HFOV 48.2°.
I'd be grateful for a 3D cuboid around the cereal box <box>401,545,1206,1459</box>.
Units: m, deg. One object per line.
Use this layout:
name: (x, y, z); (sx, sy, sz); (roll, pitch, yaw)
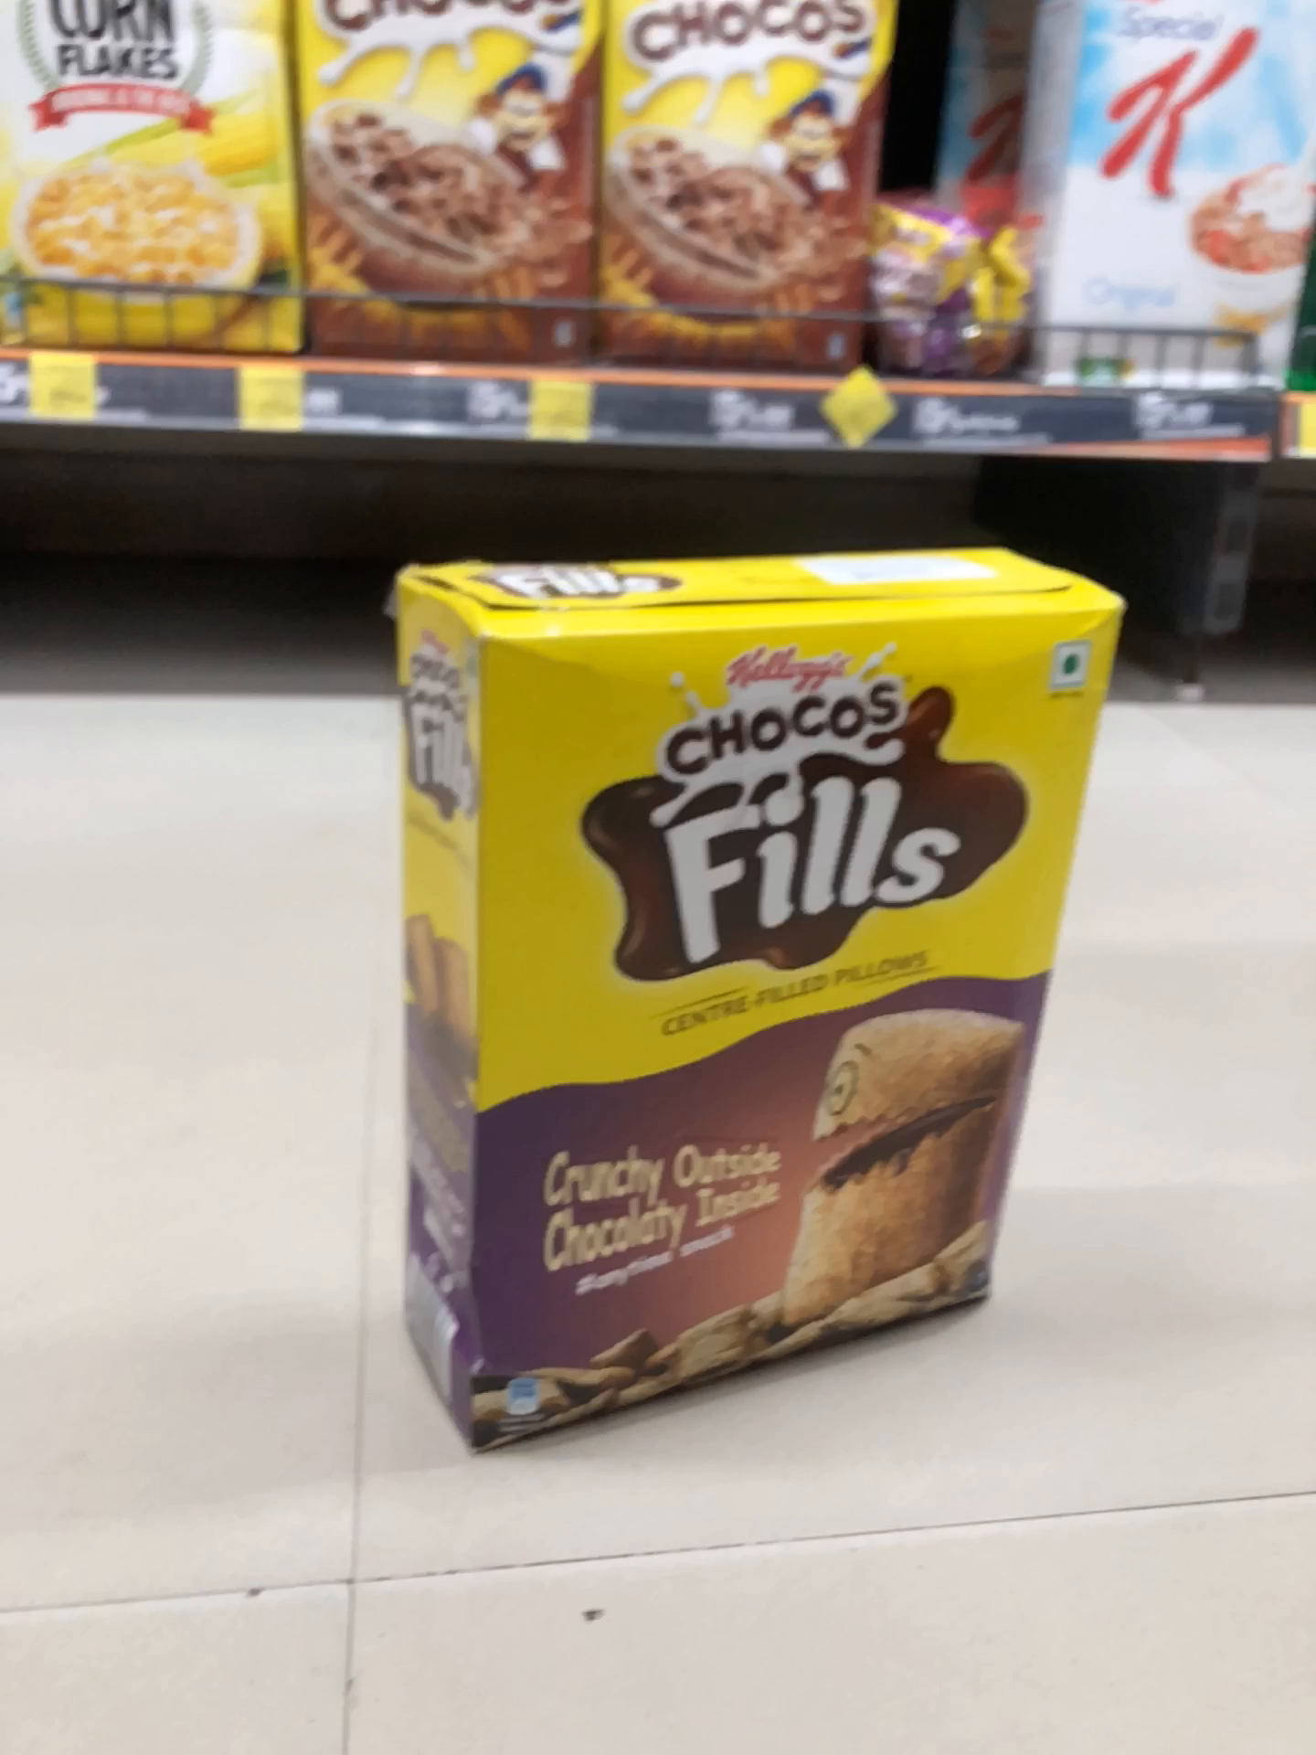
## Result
cereal box: (0.032, 0.026, 0.416); (0.190, 0.219, 0.080); (-7, 25, -24)
